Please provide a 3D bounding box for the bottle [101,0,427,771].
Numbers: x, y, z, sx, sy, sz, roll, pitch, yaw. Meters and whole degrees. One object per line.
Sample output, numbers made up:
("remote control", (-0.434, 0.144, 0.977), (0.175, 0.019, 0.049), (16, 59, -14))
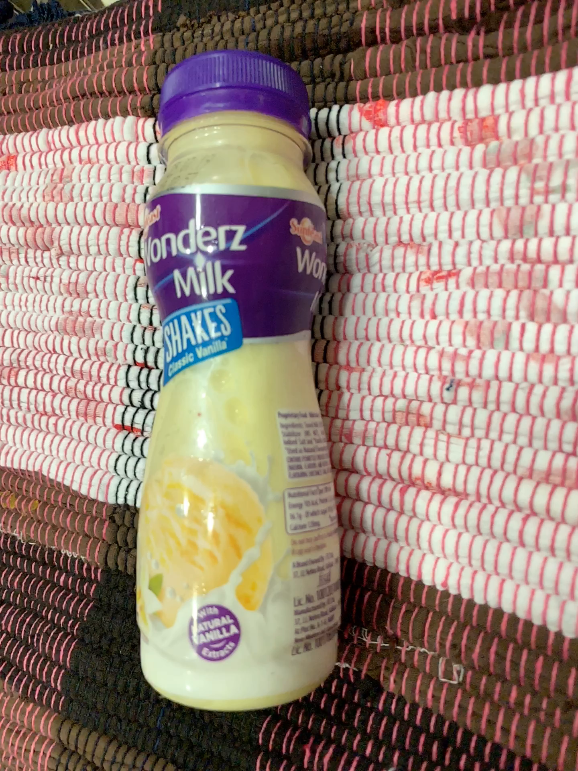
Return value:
("bottle", (-0.006, -0.003, 0.149), (0.060, 0.050, 0.160), (-3, 86, 34))
